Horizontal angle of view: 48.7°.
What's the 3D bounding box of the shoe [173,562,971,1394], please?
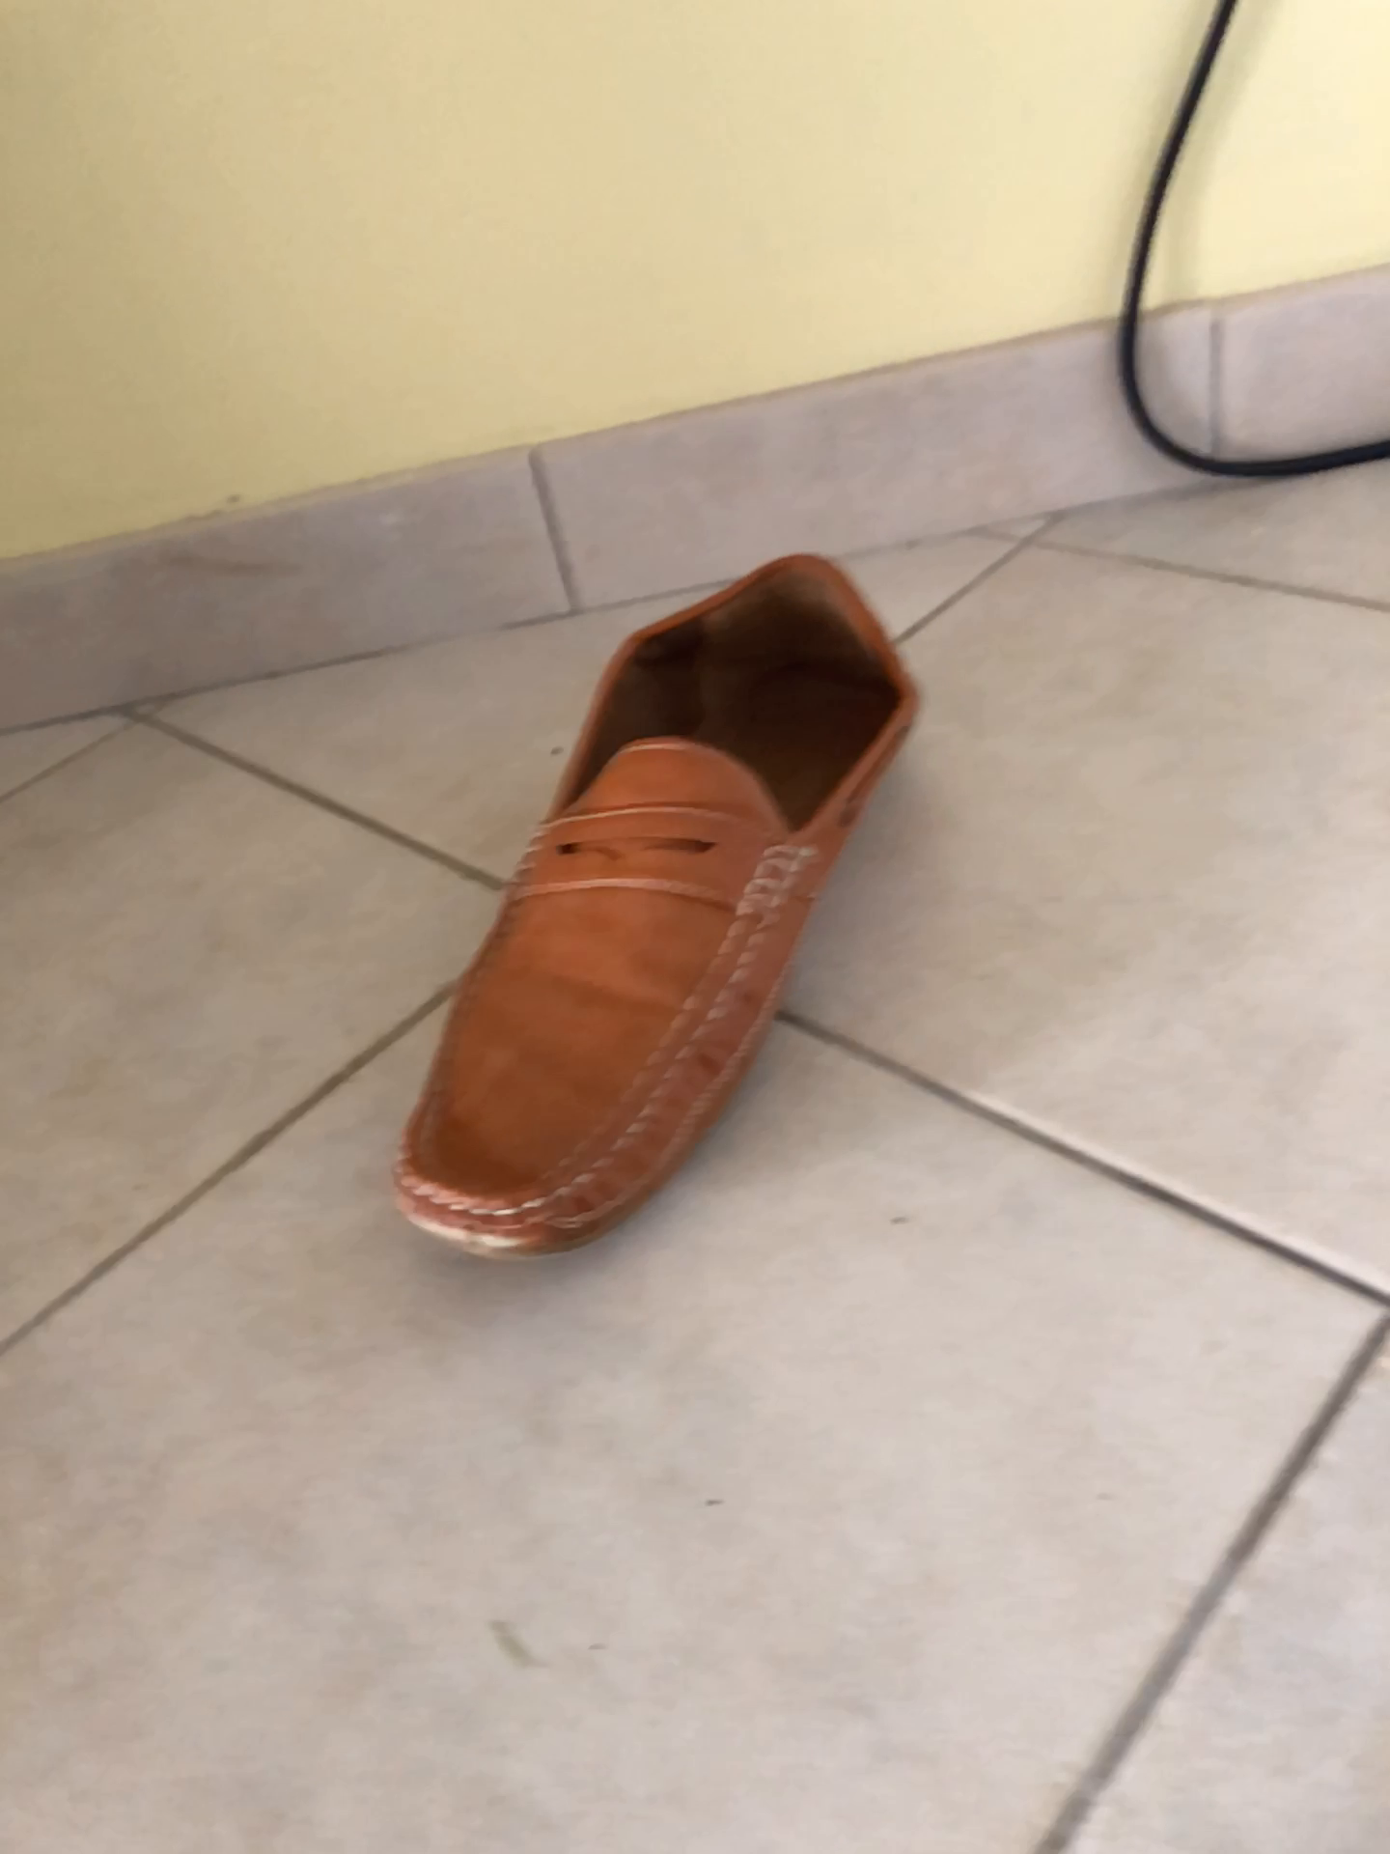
[{"bbox_3d":[-0.013,-0.011,0.467,0.130,0.070,0.282,5,42,22],"label":"shoe"}]
